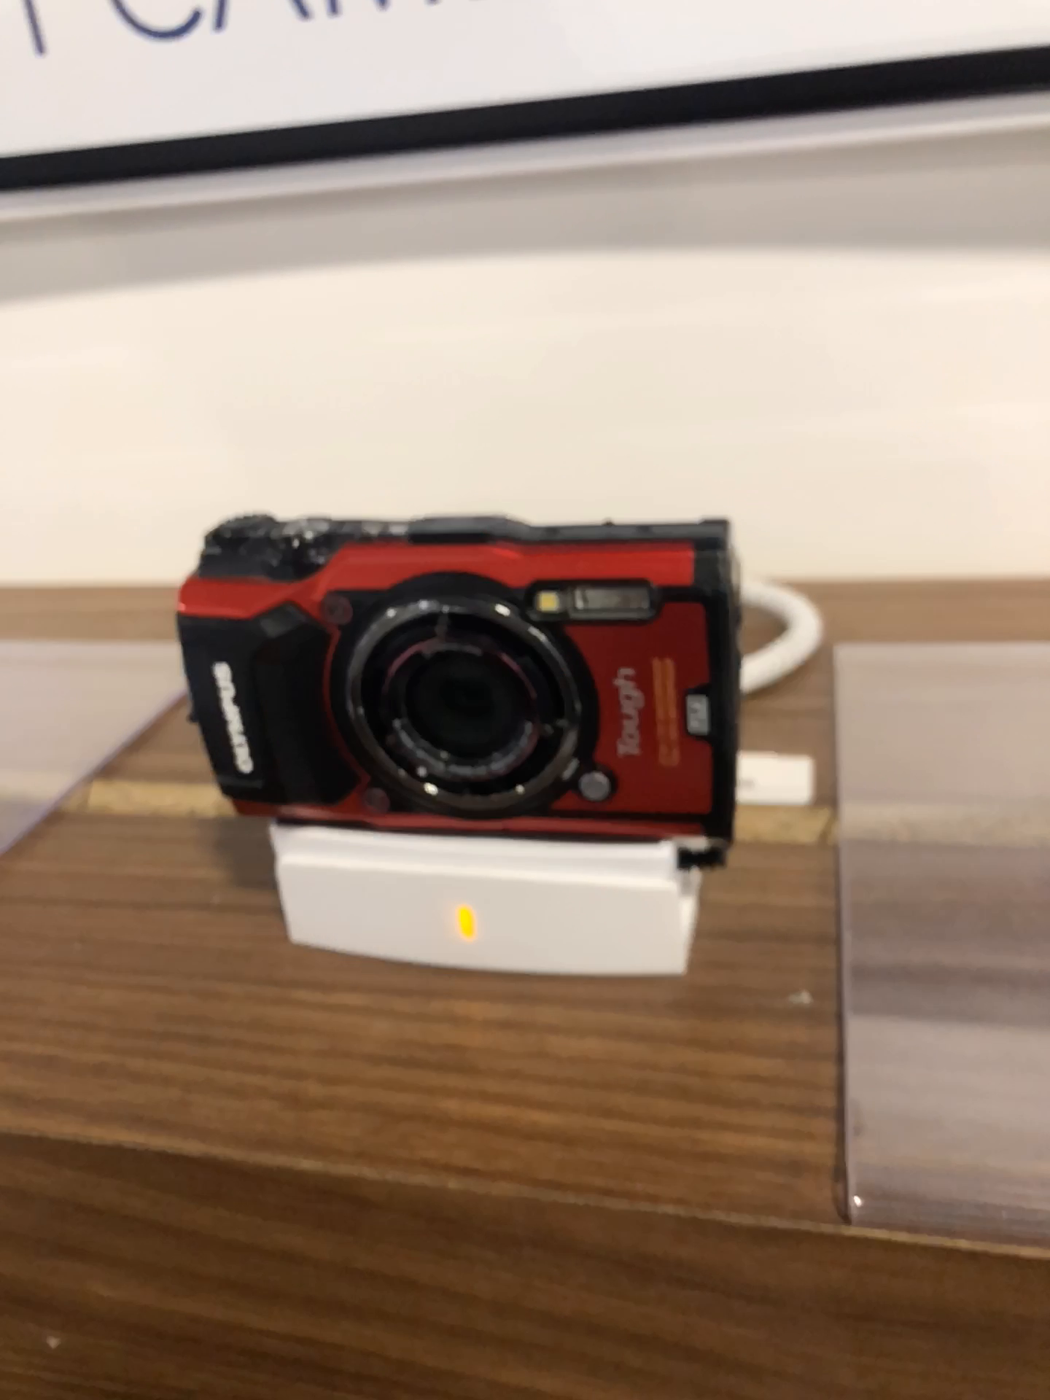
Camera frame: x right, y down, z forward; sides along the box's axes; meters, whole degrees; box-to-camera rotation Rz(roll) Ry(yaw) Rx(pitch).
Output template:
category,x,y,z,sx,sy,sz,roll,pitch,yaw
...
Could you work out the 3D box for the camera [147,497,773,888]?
category,x,y,z,sx,sy,sz,roll,pitch,yaw
camera,-0.011,-0.003,0.248,0.120,0.070,0.030,2,25,16
